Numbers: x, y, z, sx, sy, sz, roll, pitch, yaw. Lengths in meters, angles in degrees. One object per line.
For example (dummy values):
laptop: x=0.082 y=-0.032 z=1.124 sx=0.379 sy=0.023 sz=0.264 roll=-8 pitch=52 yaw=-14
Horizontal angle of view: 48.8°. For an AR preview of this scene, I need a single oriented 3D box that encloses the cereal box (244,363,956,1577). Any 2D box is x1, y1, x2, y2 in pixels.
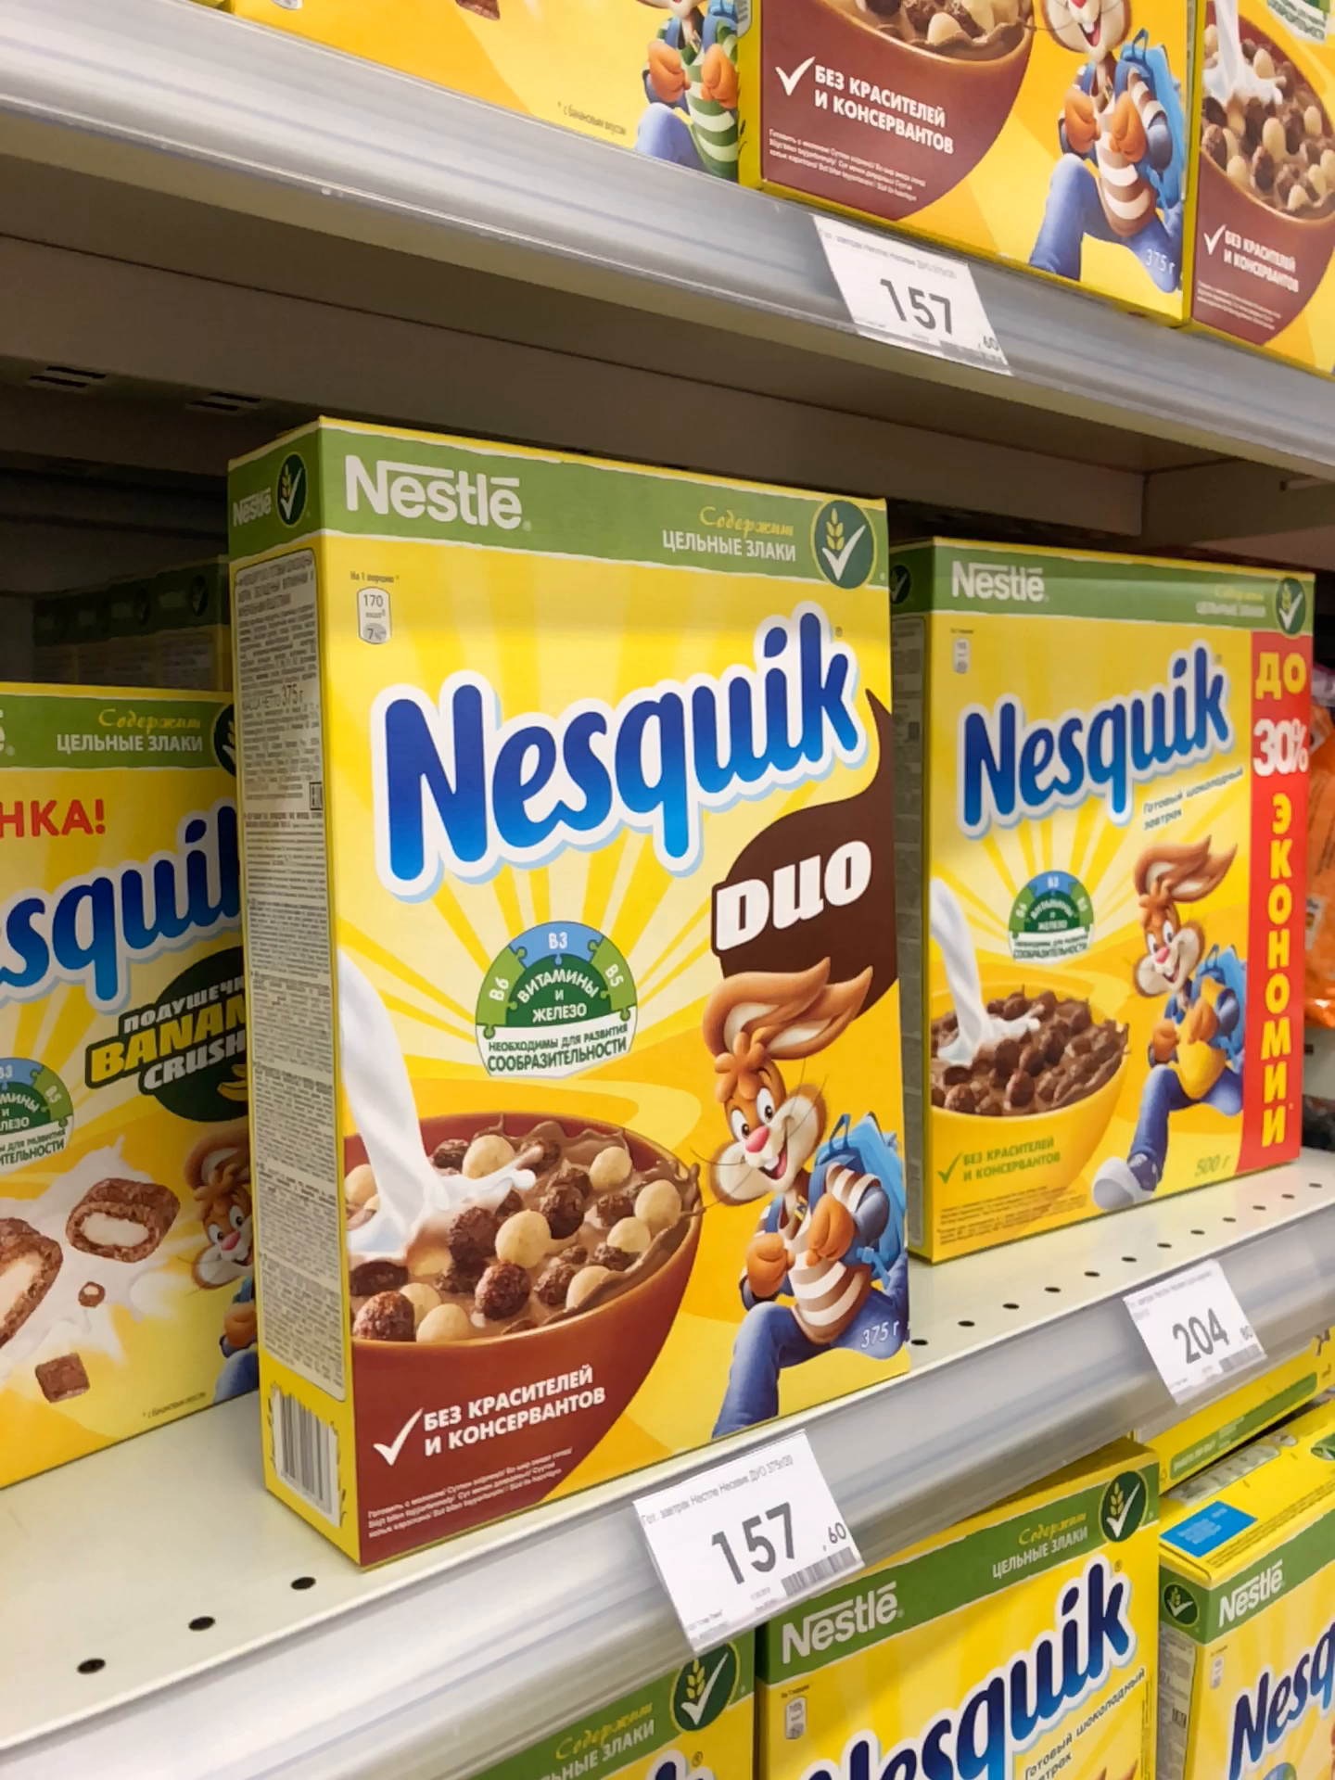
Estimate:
cereal box: x=-0.010 y=0.015 z=0.423 sx=0.200 sy=0.280 sz=0.060 roll=-3 pitch=2 yaw=-37
